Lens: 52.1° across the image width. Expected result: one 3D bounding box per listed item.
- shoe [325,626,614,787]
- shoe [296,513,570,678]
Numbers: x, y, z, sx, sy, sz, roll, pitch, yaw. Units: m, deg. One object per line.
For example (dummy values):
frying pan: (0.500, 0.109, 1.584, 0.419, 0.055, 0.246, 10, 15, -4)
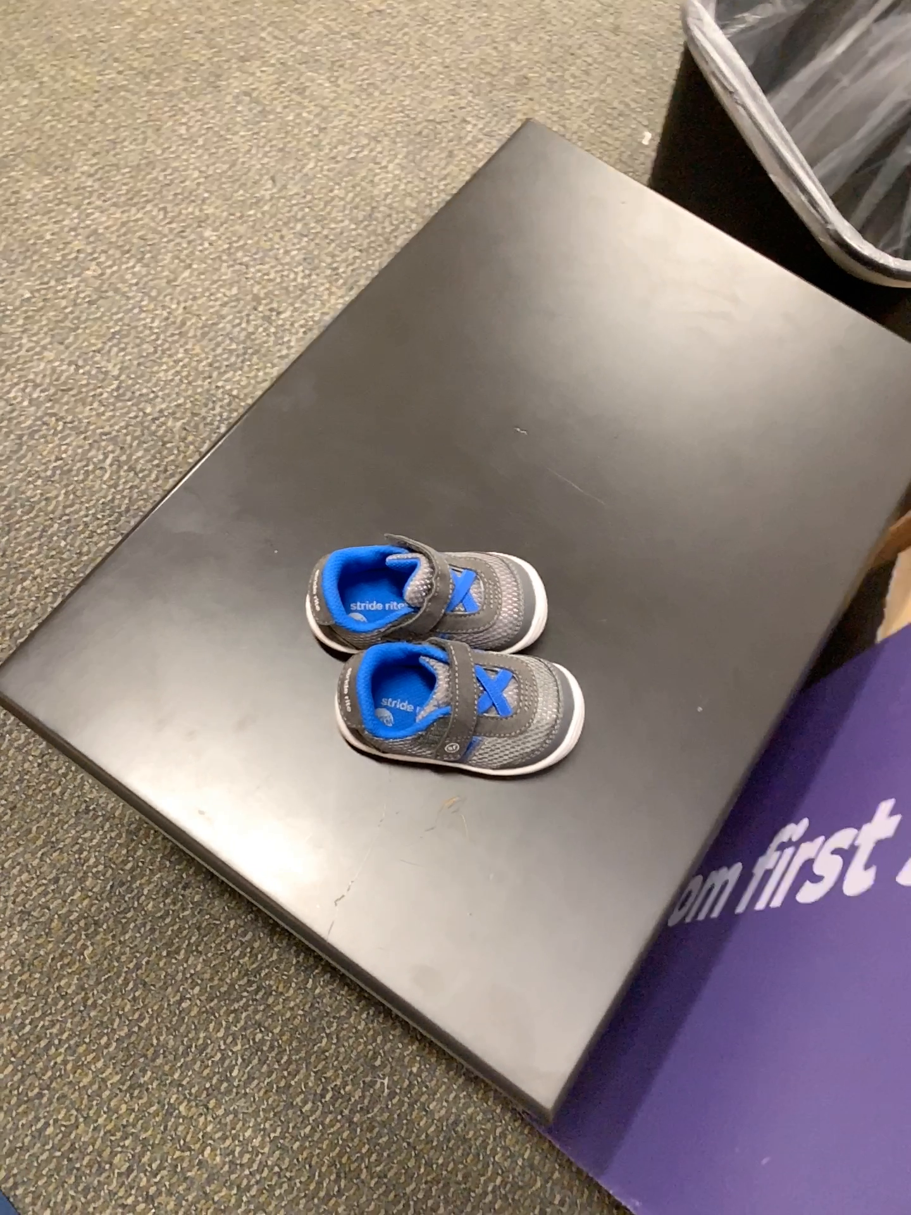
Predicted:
shoe: (0.004, 0.054, 0.490, 0.140, 0.060, 0.070, 1, 69, -5)
shoe: (-0.015, -0.006, 0.515, 0.140, 0.060, 0.070, -2, 69, -6)
